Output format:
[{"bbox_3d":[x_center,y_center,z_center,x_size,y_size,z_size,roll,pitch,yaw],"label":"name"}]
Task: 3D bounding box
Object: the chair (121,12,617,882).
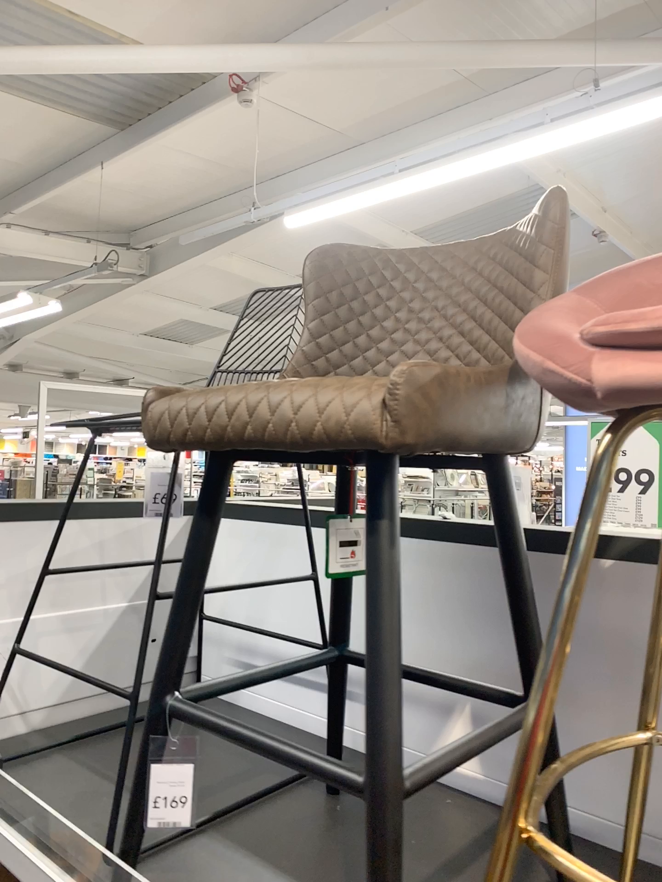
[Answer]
[{"bbox_3d":[0.069,0.096,0.962,0.535,0.997,0.465,-1,-1,35],"label":"chair"}]
